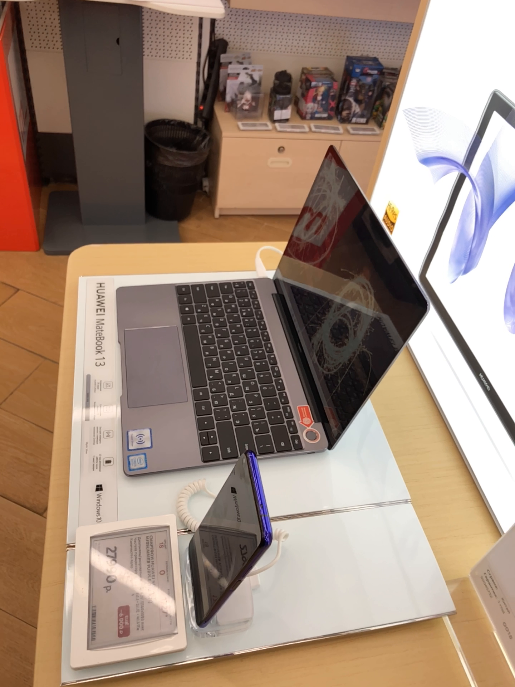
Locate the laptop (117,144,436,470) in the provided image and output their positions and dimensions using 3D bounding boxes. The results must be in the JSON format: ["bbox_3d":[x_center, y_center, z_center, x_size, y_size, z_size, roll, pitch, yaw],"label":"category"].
[{"bbox_3d":[-0.014,-0.052,0.601,0.244,0.192,0.276,-5,46,-12],"label":"laptop"}]
